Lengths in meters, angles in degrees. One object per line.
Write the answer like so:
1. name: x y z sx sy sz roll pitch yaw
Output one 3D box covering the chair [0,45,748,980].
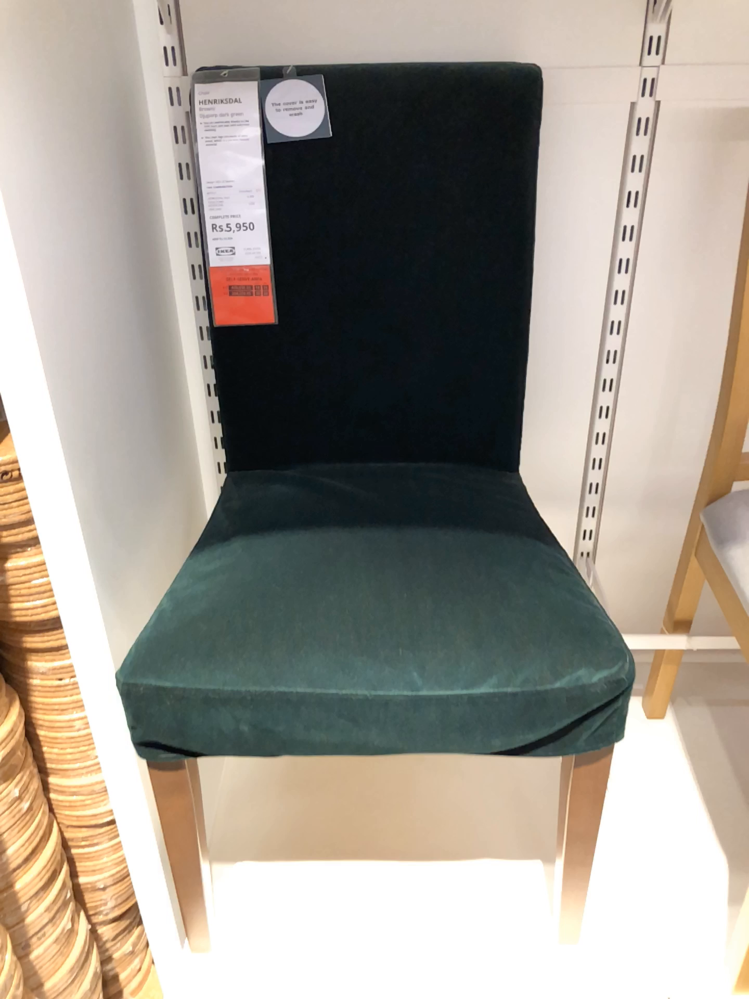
1. chair: -0.003 0.019 0.935 0.470 0.914 0.513 -2 30 0
